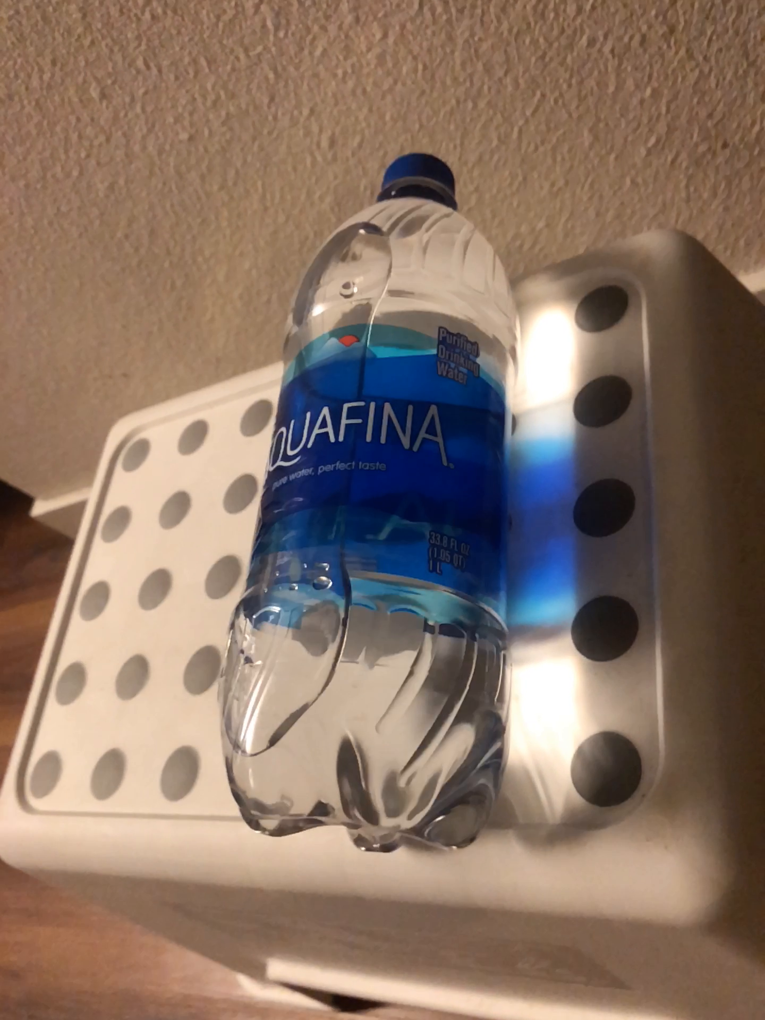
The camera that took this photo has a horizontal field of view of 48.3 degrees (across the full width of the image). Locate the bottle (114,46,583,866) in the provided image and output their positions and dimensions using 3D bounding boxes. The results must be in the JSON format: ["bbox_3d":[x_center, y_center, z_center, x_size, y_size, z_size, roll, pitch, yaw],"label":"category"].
[{"bbox_3d":[0.005,-0.024,0.286,0.090,0.080,0.250,-11,56,33],"label":"bottle"}]
